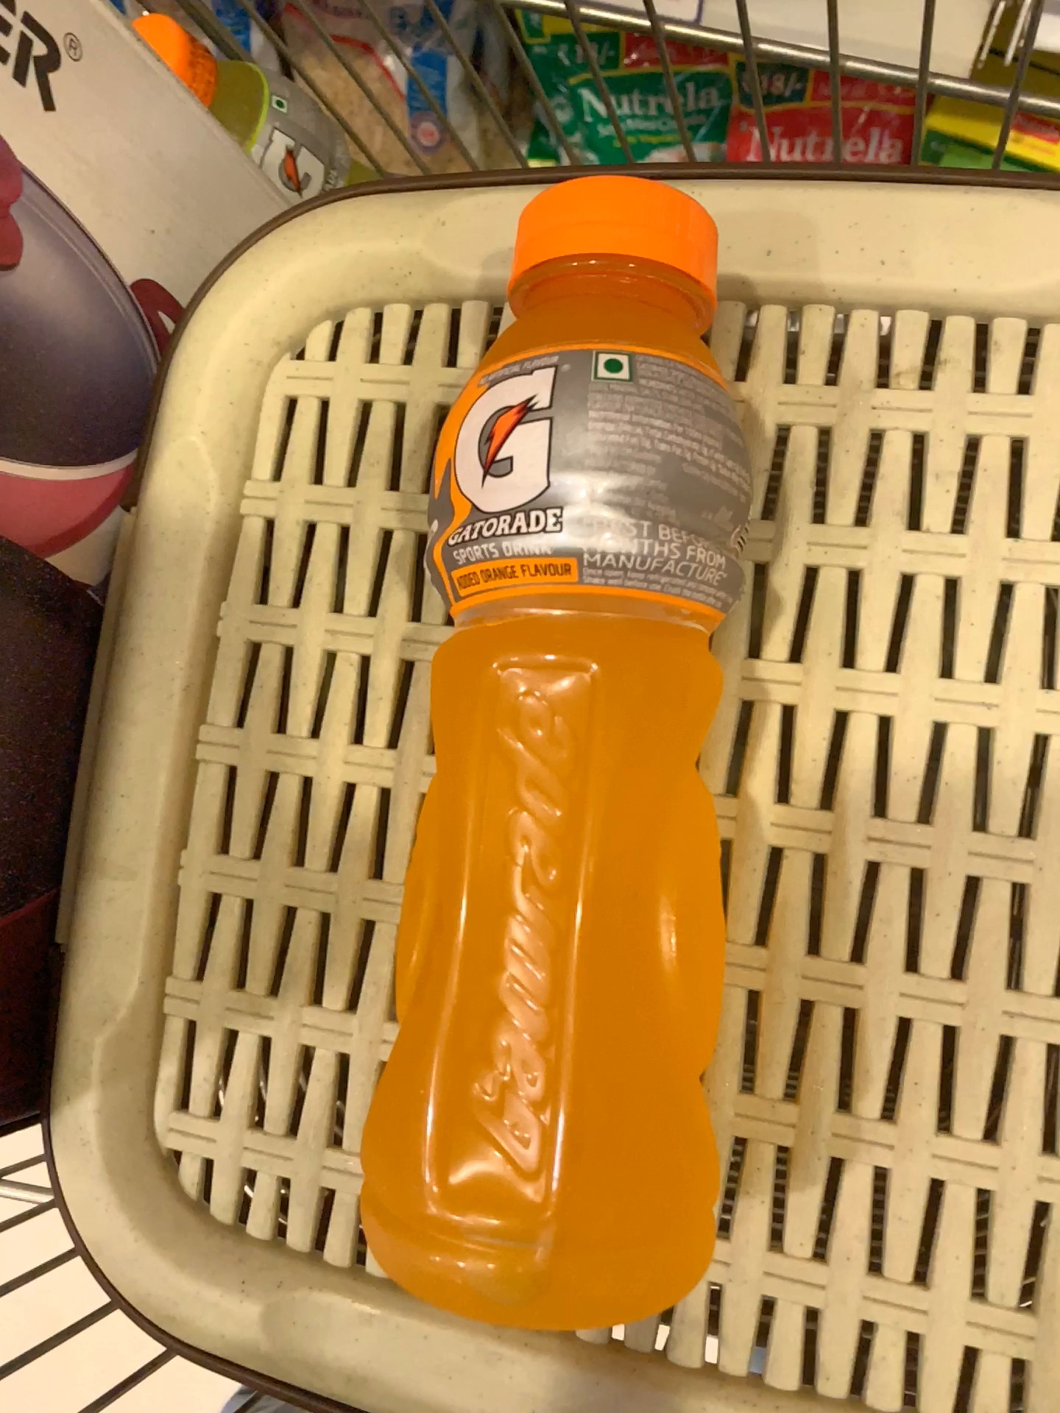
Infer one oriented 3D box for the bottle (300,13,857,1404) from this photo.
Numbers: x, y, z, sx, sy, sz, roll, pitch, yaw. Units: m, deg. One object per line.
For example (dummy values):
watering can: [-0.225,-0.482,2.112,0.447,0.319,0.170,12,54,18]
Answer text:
bottle: [0.012,-0.002,0.206,0.060,0.060,0.210,1,82,42]
